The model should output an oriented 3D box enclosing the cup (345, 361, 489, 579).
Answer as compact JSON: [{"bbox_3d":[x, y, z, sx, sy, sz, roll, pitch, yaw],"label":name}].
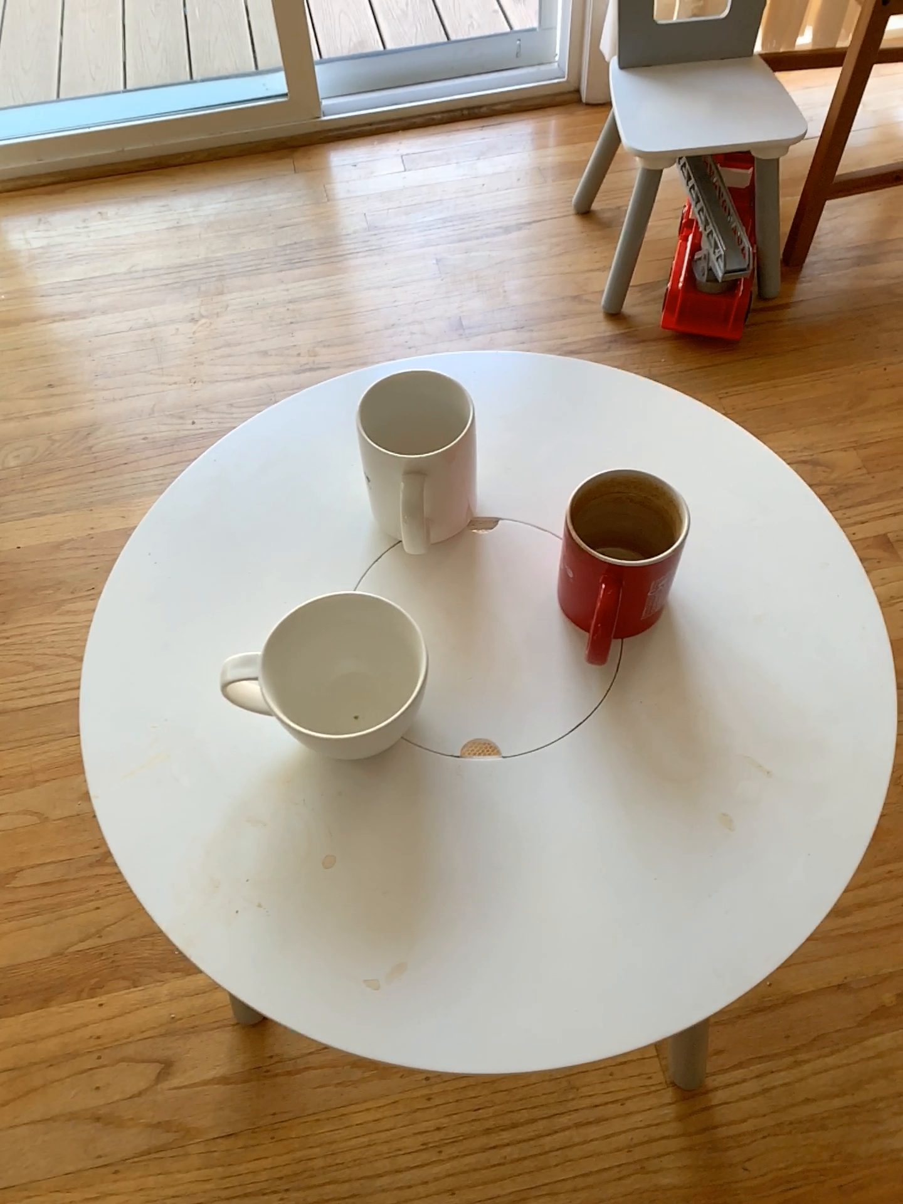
[{"bbox_3d":[-0.020,-0.096,0.679,0.090,0.100,0.120,2,58,3],"label":"cup"}]

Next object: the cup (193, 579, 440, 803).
[{"bbox_3d":[-0.084,0.059,0.622,0.130,0.070,0.110,9,58,8],"label":"cup"}]

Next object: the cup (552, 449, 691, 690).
[{"bbox_3d":[0.119,-0.023,0.655,0.080,0.100,0.130,6,58,6],"label":"cup"}]
